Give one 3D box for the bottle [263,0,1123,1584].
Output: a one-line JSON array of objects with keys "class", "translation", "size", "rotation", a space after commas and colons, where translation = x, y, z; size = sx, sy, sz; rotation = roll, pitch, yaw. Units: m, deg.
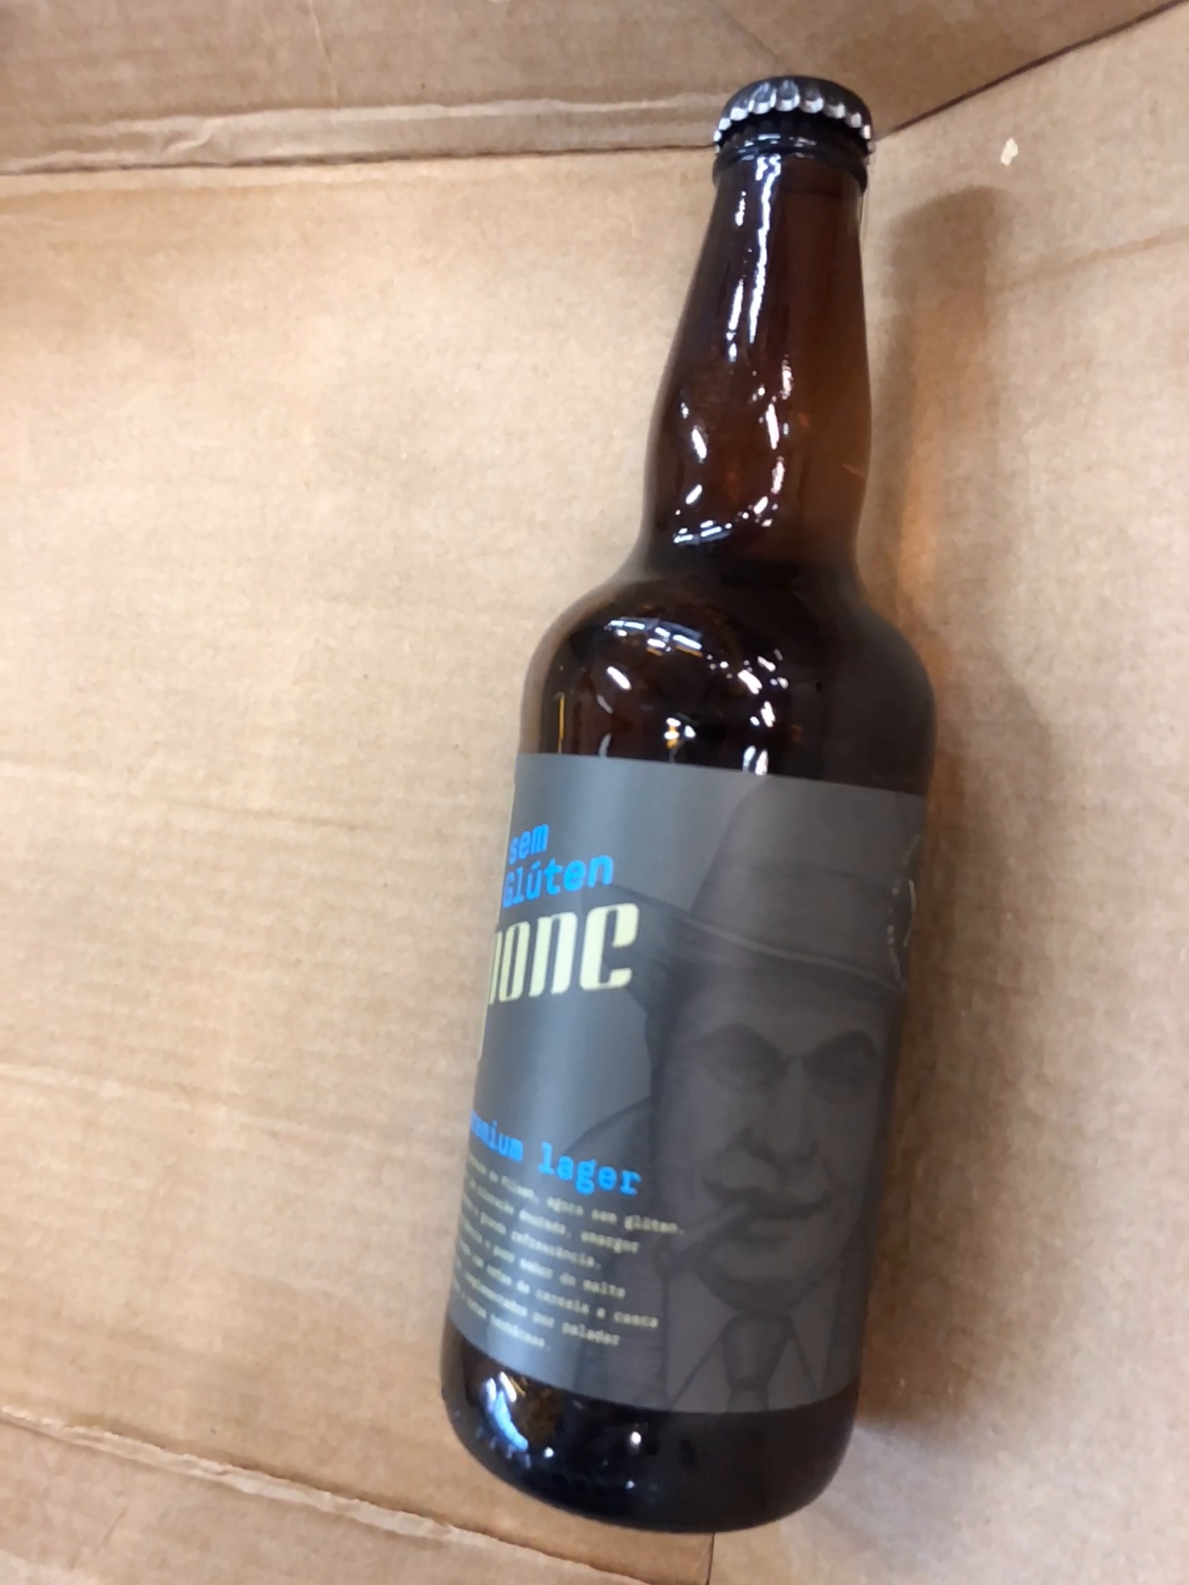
[{"class": "bottle", "translation": [0.016, 0.003, 0.211], "size": [0.080, 0.060, 0.240], "rotation": [7, 86, 41]}]
